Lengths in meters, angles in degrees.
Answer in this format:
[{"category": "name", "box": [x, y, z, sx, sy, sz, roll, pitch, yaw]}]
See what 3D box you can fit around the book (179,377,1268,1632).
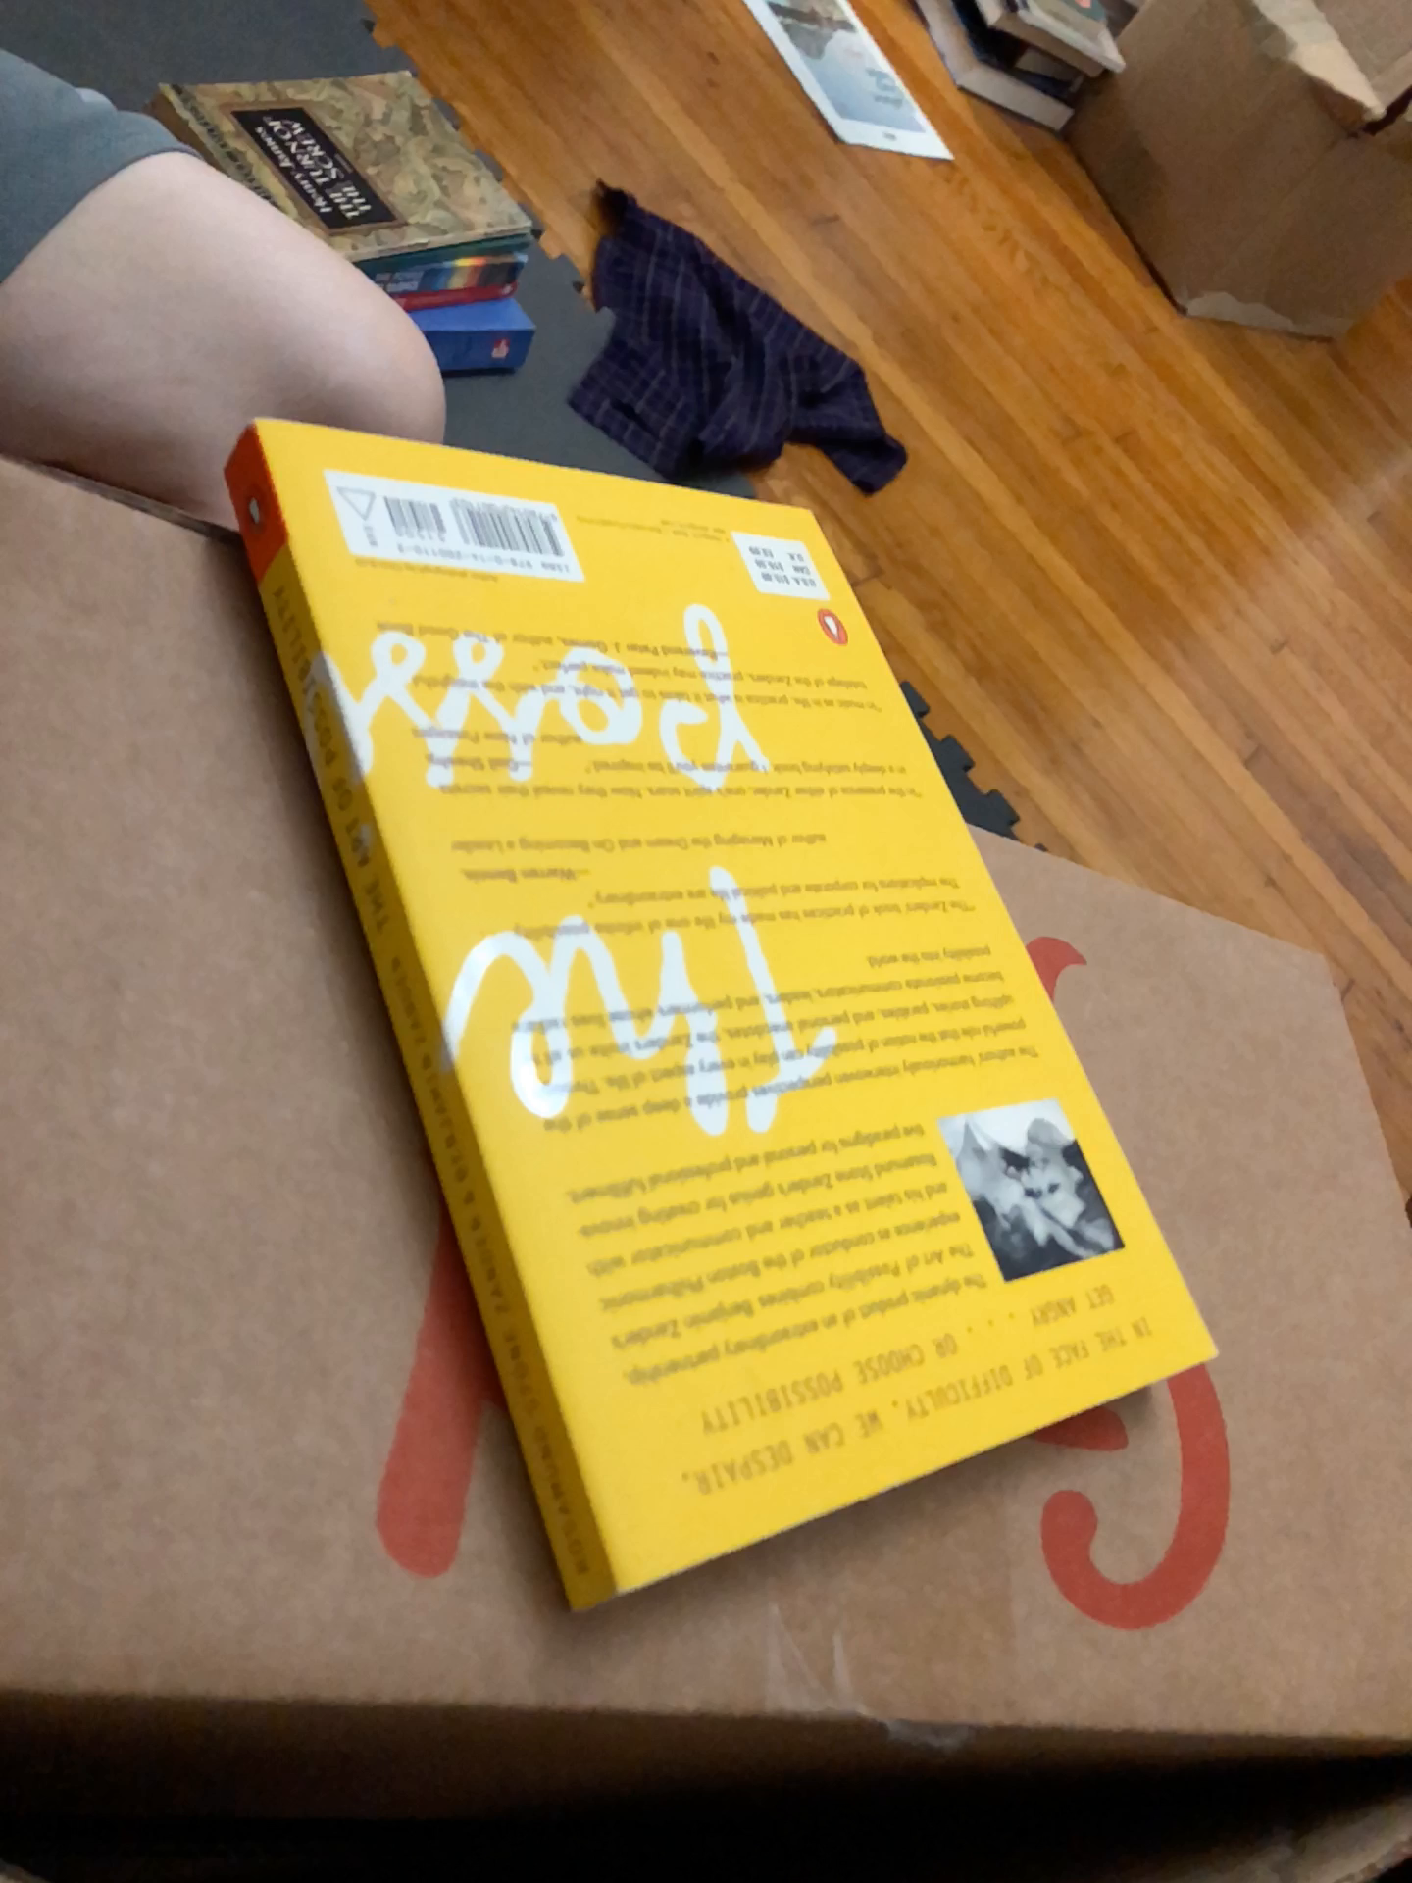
[{"category": "book", "box": [0.004, -0.007, 0.288, 0.151, 0.020, 0.210, -4, 63, -39]}]
